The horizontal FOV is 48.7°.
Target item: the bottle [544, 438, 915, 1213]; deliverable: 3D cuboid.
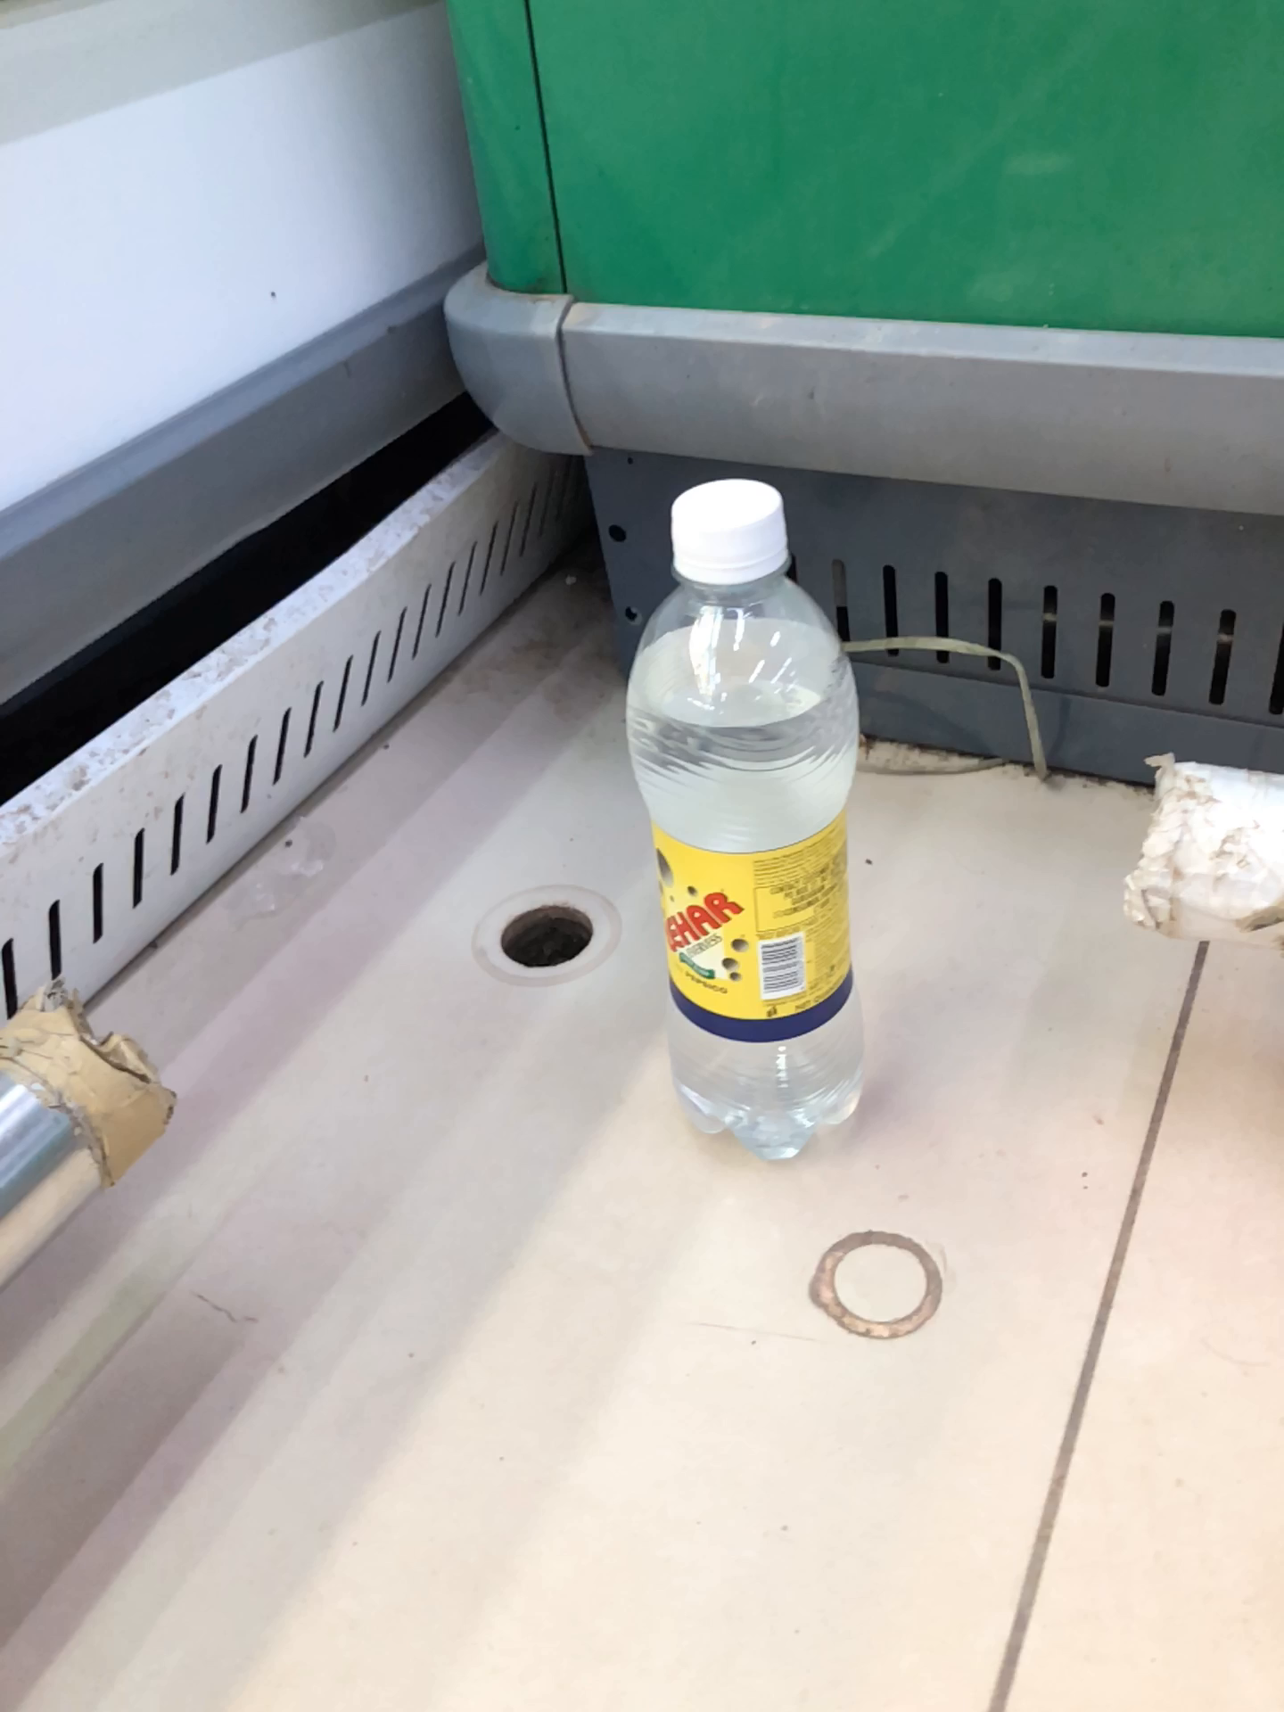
[{"bbox_3d":[0.036,-0.002,0.443,0.070,0.228,0.070,-5,37,4],"label":"bottle"}]
